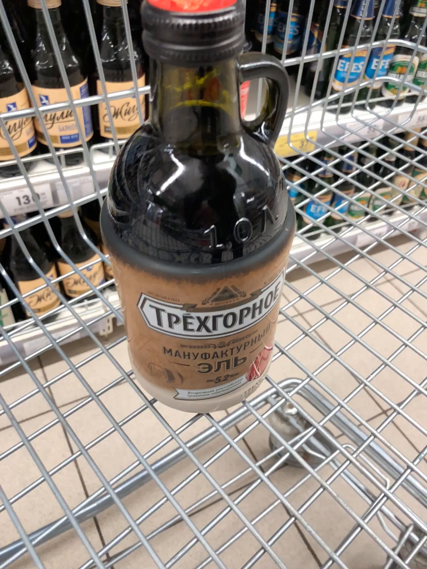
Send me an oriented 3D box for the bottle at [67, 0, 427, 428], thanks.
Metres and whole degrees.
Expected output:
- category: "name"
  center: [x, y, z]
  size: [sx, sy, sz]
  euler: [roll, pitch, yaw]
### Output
- category: "bottle"
  center: [-0.001, -0.035, 0.253]
  size: [0.110, 0.229, 0.100]
  euler: [2, 45, -2]
